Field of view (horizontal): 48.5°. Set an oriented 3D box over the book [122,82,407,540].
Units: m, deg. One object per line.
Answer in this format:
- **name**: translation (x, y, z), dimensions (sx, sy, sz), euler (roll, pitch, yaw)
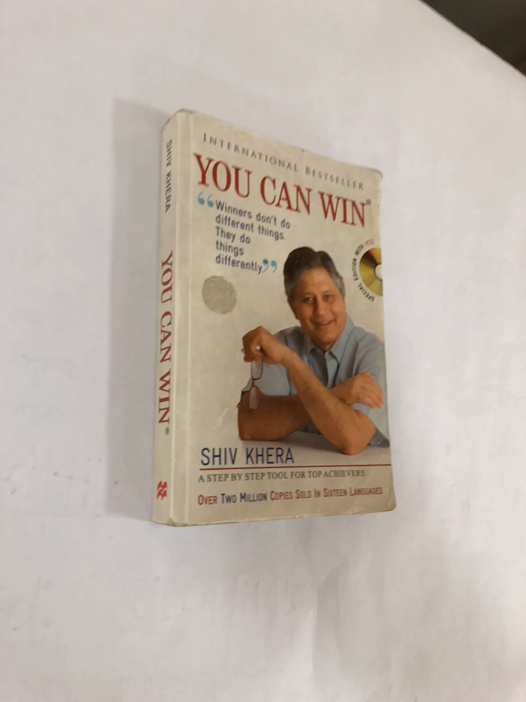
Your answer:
- **book**: translation (0.005, -0.016, 0.319), dimensions (0.151, 0.040, 0.210), euler (6, 78, -34)
